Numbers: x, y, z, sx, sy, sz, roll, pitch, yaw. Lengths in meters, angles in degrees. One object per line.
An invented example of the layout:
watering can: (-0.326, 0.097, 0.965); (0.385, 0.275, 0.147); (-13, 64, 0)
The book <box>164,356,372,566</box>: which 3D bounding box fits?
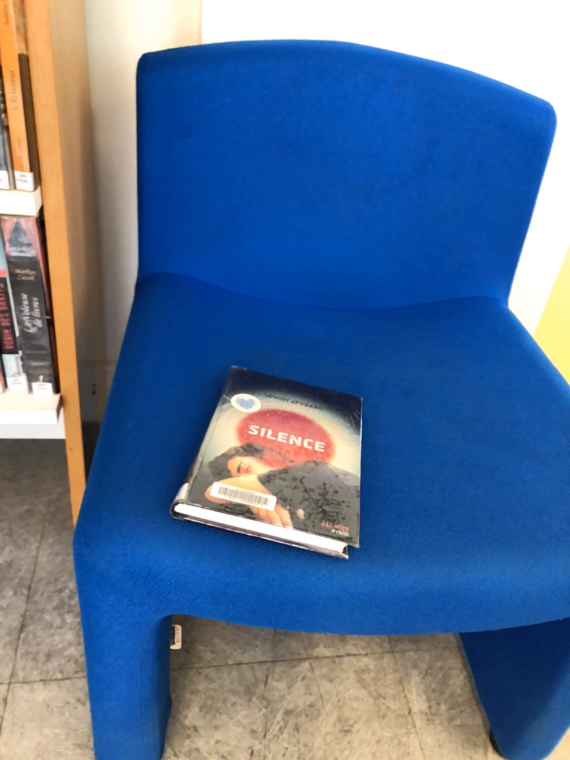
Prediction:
book: (-0.002, 0.057, 0.555); (0.146, 0.023, 0.212); (14, 32, 2)
